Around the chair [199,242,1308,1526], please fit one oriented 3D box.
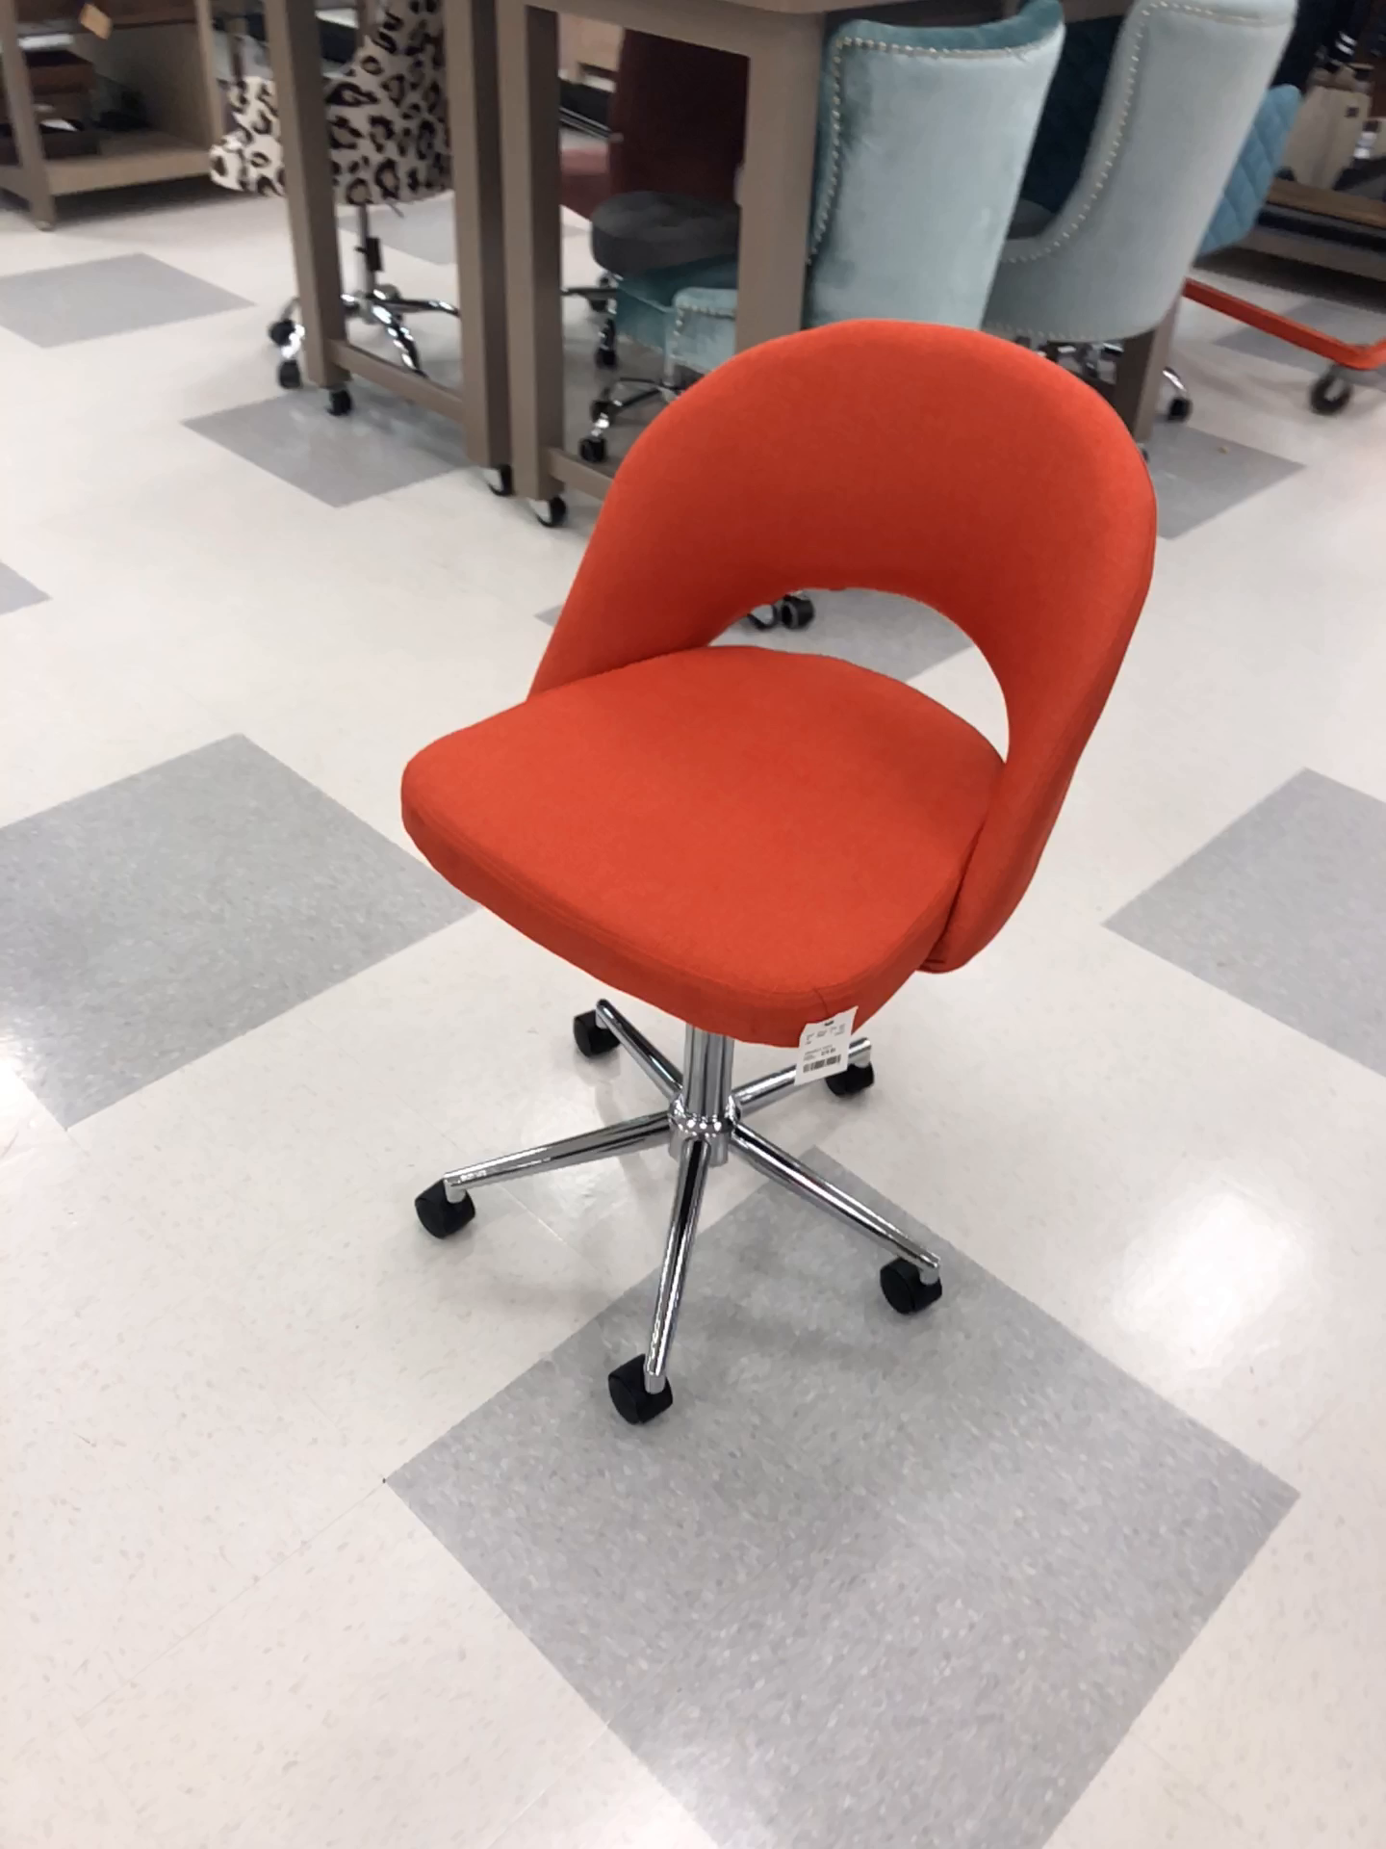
[{"bbox_3d":[0.039,-0.071,1.425,0.601,0.858,0.609,31,45,31],"label":"chair"}]
